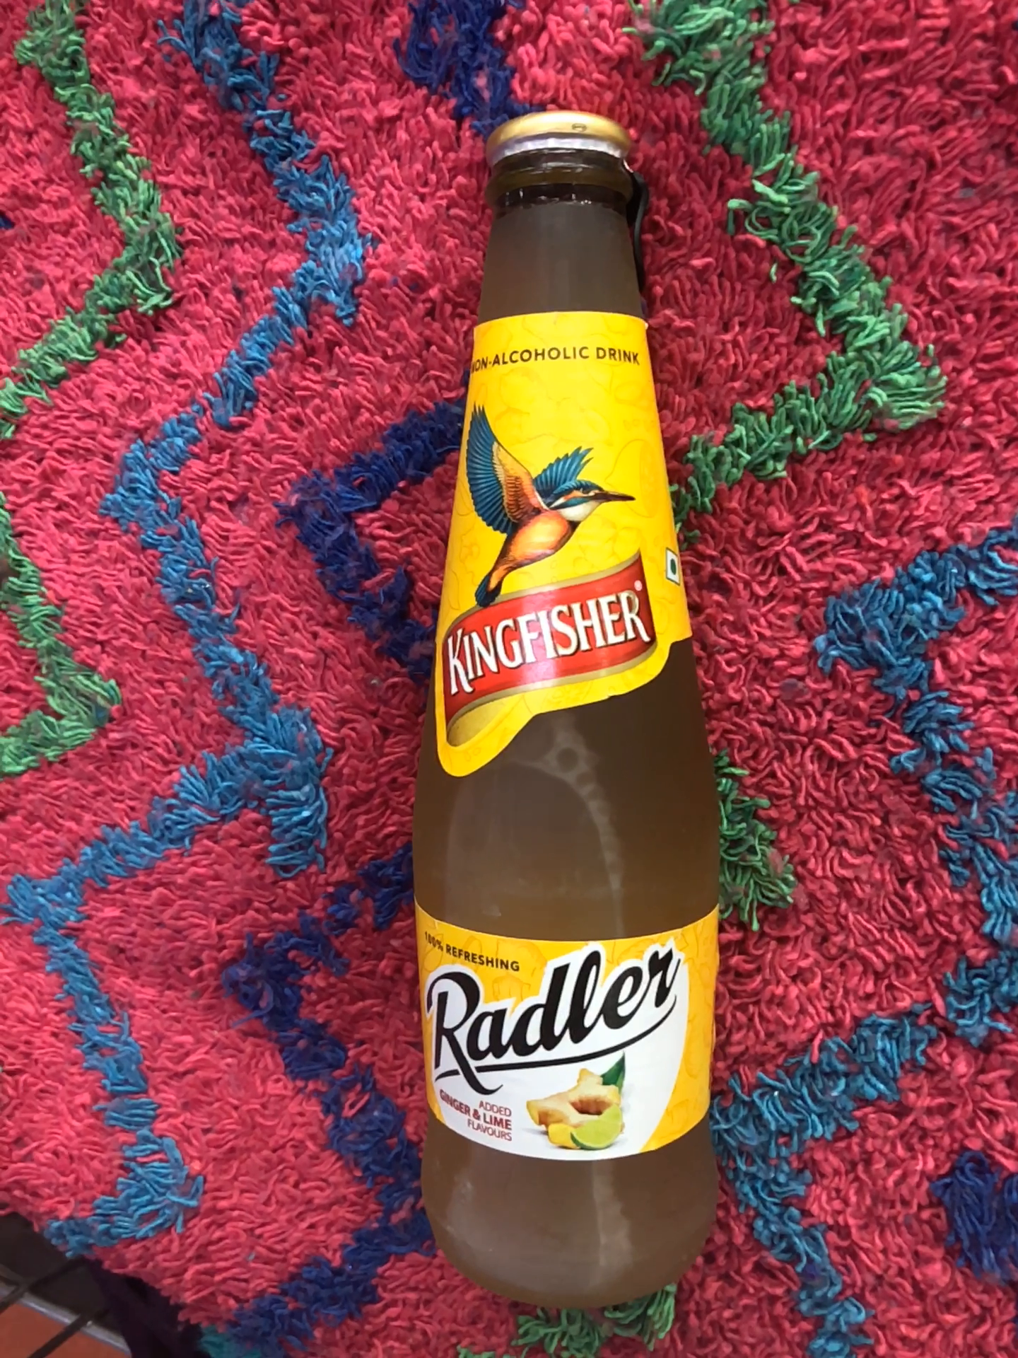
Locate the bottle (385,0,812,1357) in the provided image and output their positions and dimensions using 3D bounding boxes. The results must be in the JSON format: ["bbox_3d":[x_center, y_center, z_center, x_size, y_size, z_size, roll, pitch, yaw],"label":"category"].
[{"bbox_3d":[0.019,0.001,0.208,0.060,0.060,0.210,2,96,20],"label":"bottle"}]
